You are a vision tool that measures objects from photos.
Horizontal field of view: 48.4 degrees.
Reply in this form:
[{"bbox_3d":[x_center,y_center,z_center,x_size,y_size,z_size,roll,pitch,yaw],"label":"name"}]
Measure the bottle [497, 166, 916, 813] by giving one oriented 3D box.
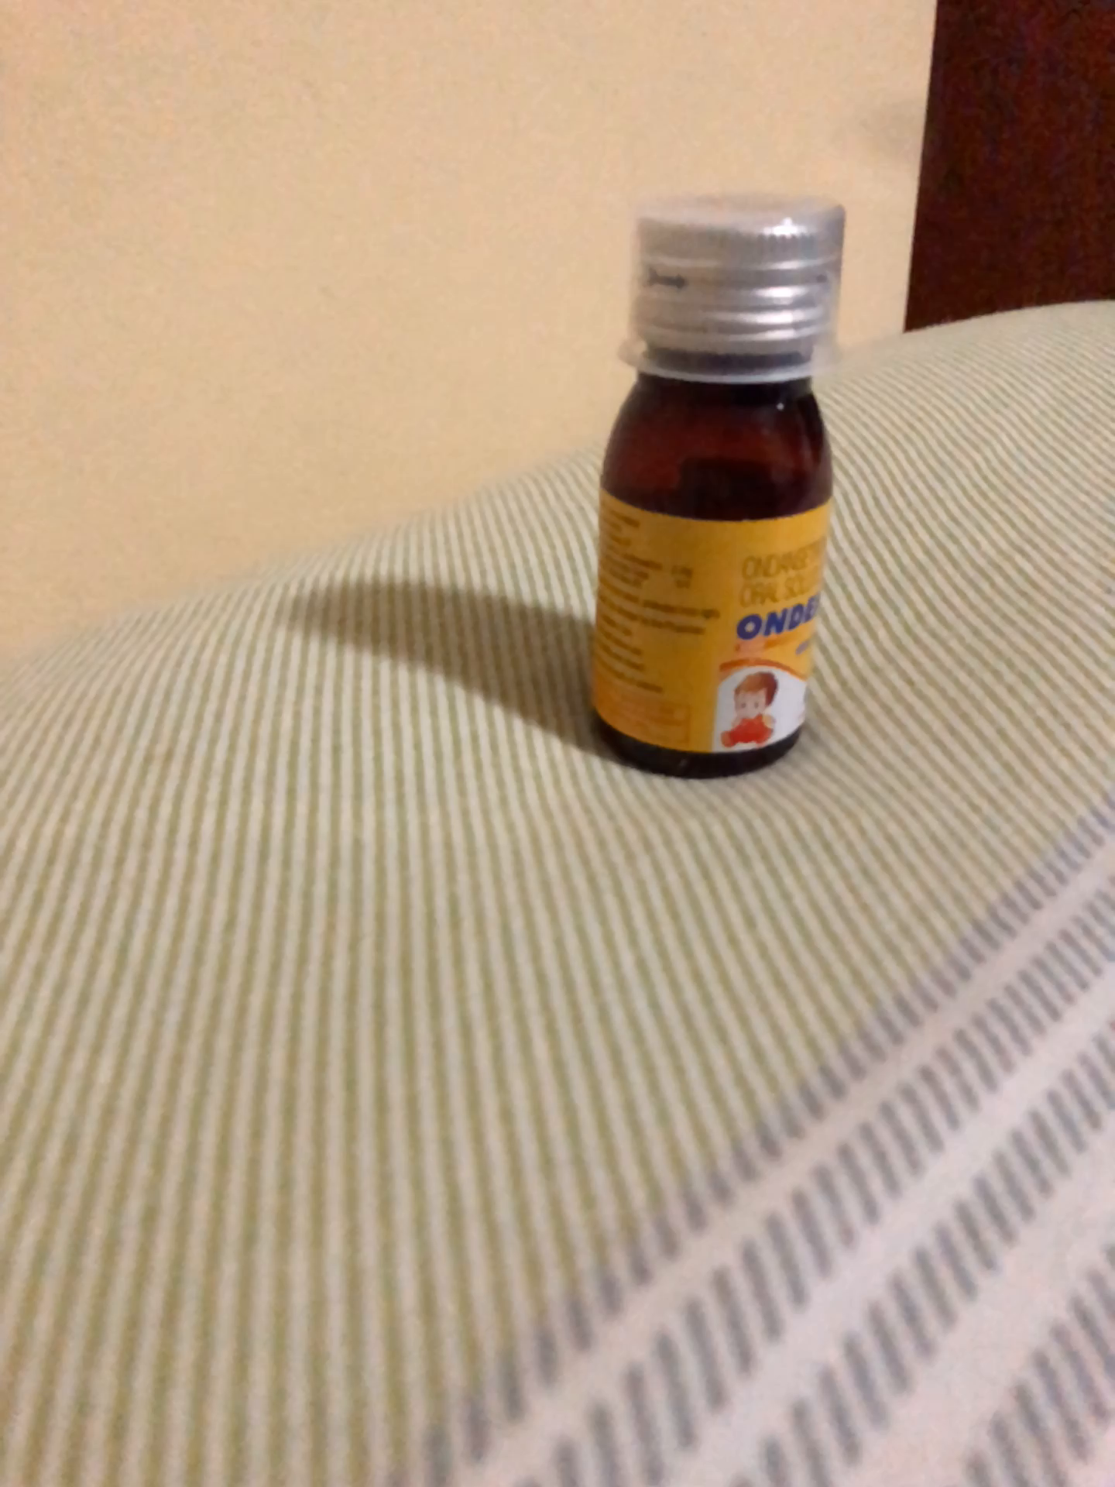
[{"bbox_3d":[0.019,-0.036,0.175,0.037,0.076,0.038,-2,31,1],"label":"bottle"}]
